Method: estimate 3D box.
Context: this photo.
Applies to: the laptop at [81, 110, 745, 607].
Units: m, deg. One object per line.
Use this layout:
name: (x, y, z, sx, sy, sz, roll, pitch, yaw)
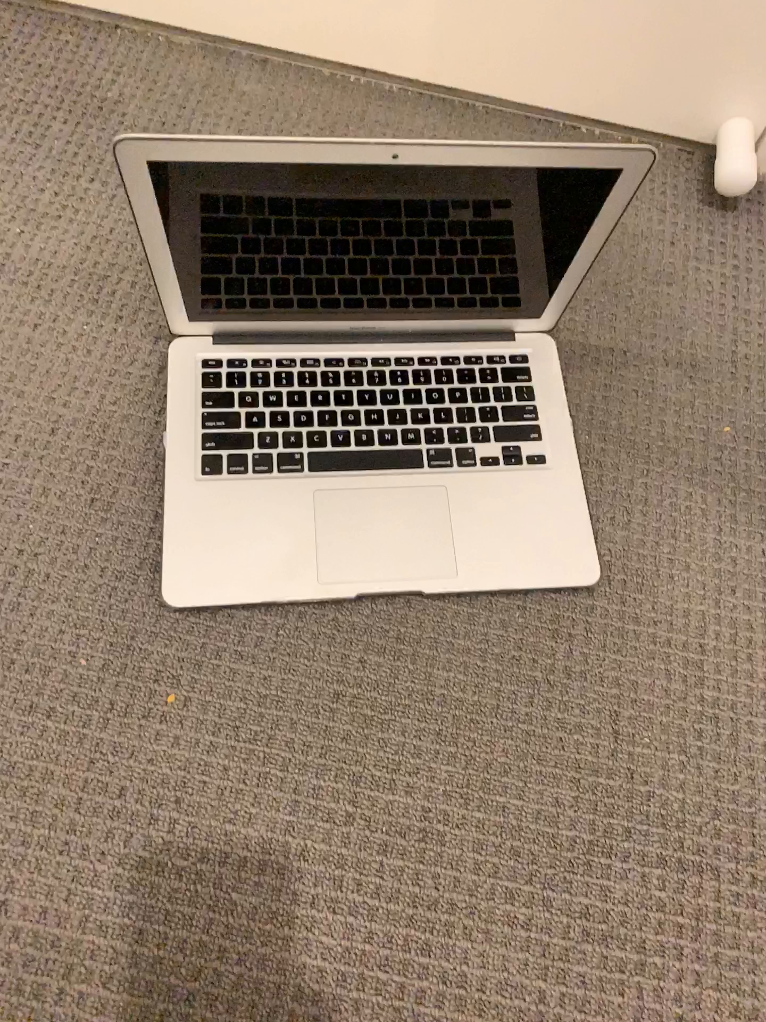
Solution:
laptop: (0.004, -0.087, 0.517, 0.322, 0.215, 0.227, -3, 67, -7)
